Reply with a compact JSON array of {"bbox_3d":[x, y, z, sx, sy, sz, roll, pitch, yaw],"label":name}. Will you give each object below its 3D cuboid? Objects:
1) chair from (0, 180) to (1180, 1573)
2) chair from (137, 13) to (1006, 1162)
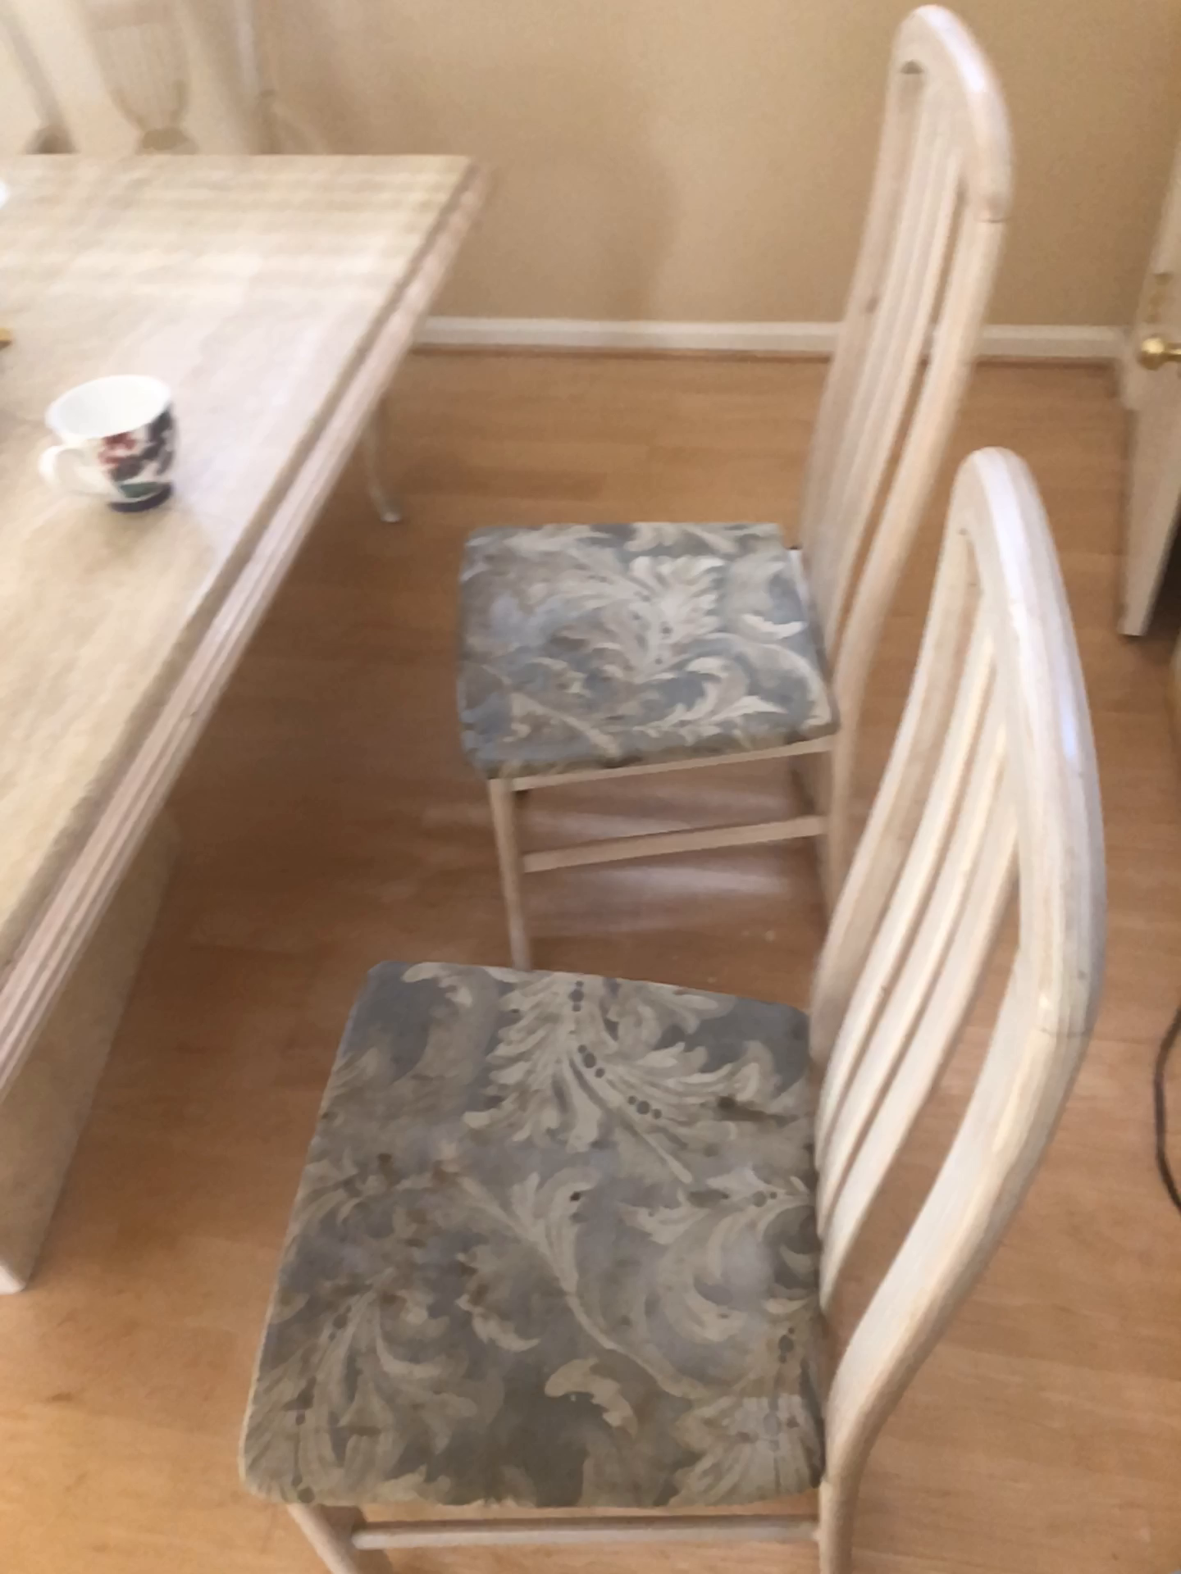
[{"bbox_3d":[-0.047,0.239,0.958,0.560,1.141,0.484,2,46,6],"label":"chair"},{"bbox_3d":[0.041,-0.100,1.409,0.560,1.141,0.484,-3,46,5],"label":"chair"}]
